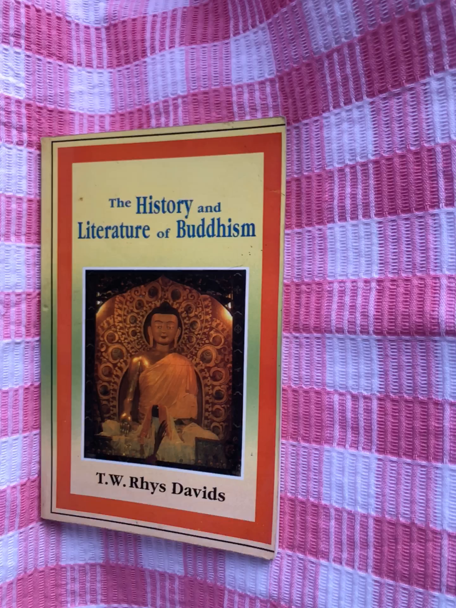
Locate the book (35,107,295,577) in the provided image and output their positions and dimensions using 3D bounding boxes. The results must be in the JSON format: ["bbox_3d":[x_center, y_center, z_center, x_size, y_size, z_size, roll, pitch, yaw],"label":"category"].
[{"bbox_3d":[-0.038,0.017,0.272,0.020,0.139,0.220,-1,93,-70],"label":"book"}]
